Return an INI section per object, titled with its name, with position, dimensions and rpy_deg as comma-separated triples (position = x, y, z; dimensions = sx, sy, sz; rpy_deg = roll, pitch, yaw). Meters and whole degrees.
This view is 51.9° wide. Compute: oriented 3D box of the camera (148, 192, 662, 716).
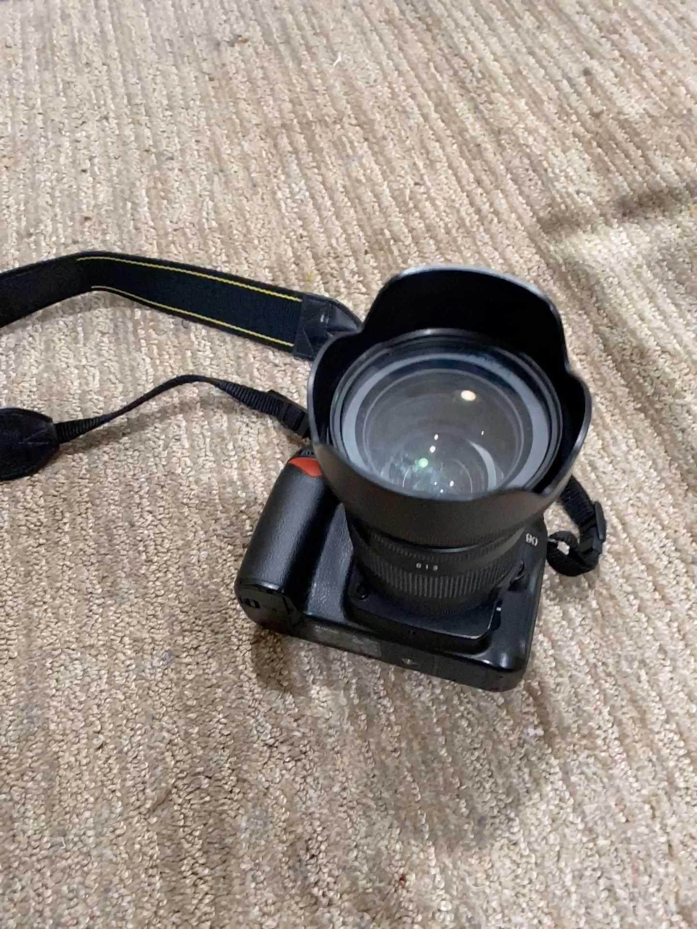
[camera]
position = 0.026, 0.006, 0.293
dimensions = 0.138, 0.165, 0.114
rpy_deg = 13, 58, 10
